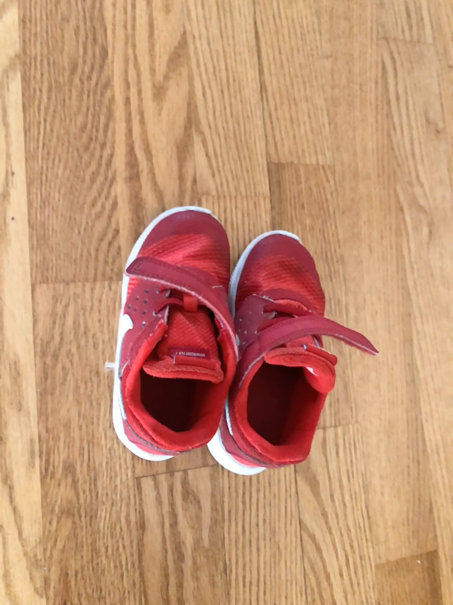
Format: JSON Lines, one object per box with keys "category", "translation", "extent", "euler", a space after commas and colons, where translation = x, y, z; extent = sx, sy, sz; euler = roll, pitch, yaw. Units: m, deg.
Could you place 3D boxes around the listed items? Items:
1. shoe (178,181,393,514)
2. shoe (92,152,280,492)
{"category": "shoe", "translation": [0.037, 0.029, 0.324], "extent": [0.088, 0.069, 0.177], "euler": [14, 79, -16]}
{"category": "shoe", "translation": [-0.026, 0.014, 0.305], "extent": [0.081, 0.069, 0.175], "euler": [9, 81, -17]}
